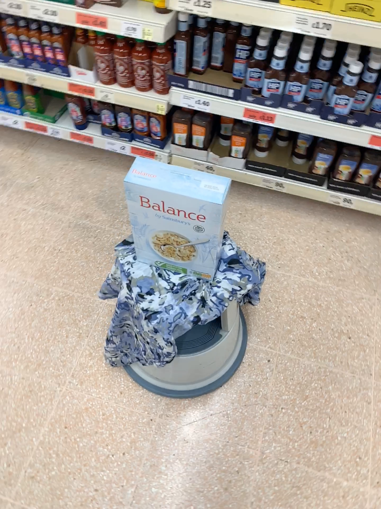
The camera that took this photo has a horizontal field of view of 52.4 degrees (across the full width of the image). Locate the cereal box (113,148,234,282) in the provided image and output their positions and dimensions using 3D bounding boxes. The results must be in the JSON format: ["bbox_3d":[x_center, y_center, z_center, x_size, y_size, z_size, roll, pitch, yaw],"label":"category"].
[{"bbox_3d":[-0.034,-0.071,0.824,0.210,0.278,0.070,16,56,9],"label":"cereal box"}]
